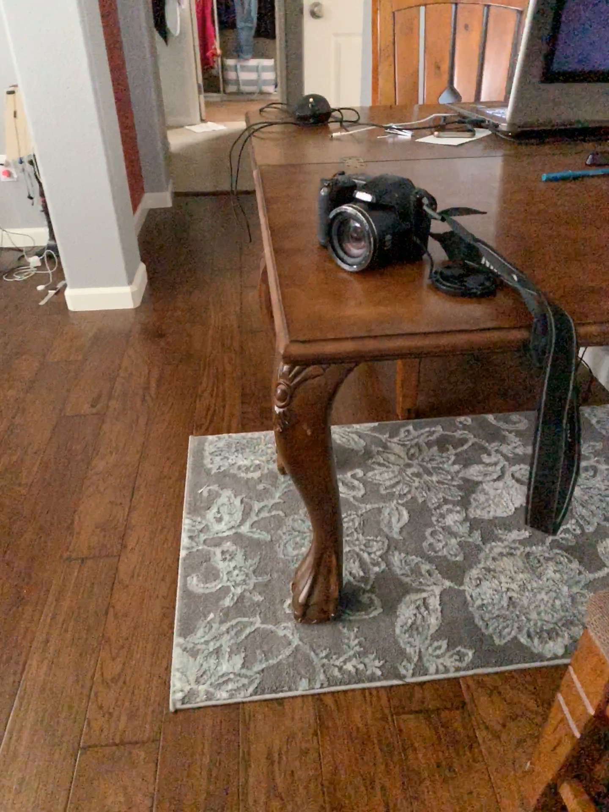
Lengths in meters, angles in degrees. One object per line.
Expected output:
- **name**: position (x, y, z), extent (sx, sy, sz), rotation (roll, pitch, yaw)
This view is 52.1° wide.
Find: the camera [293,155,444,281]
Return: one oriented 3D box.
- **camera**: position (0.060, -0.188, 0.610), extent (0.090, 0.079, 0.110), rotation (-28, 43, -35)
